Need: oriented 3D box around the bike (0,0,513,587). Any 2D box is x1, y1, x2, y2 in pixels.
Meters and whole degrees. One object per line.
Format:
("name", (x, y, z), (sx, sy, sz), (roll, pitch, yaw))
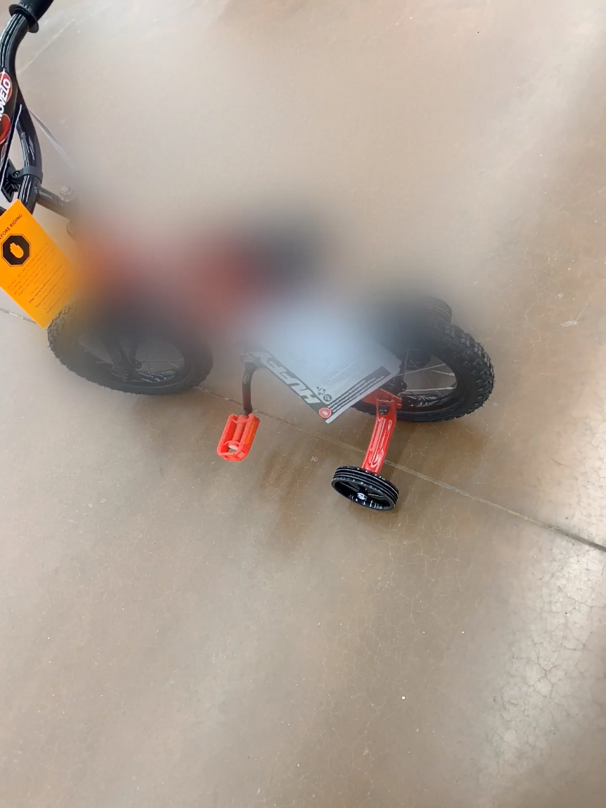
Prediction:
("bike", (-0.149, -0.138, 0.762), (0.705, 0.627, 0.458), (4, 61, 18))
